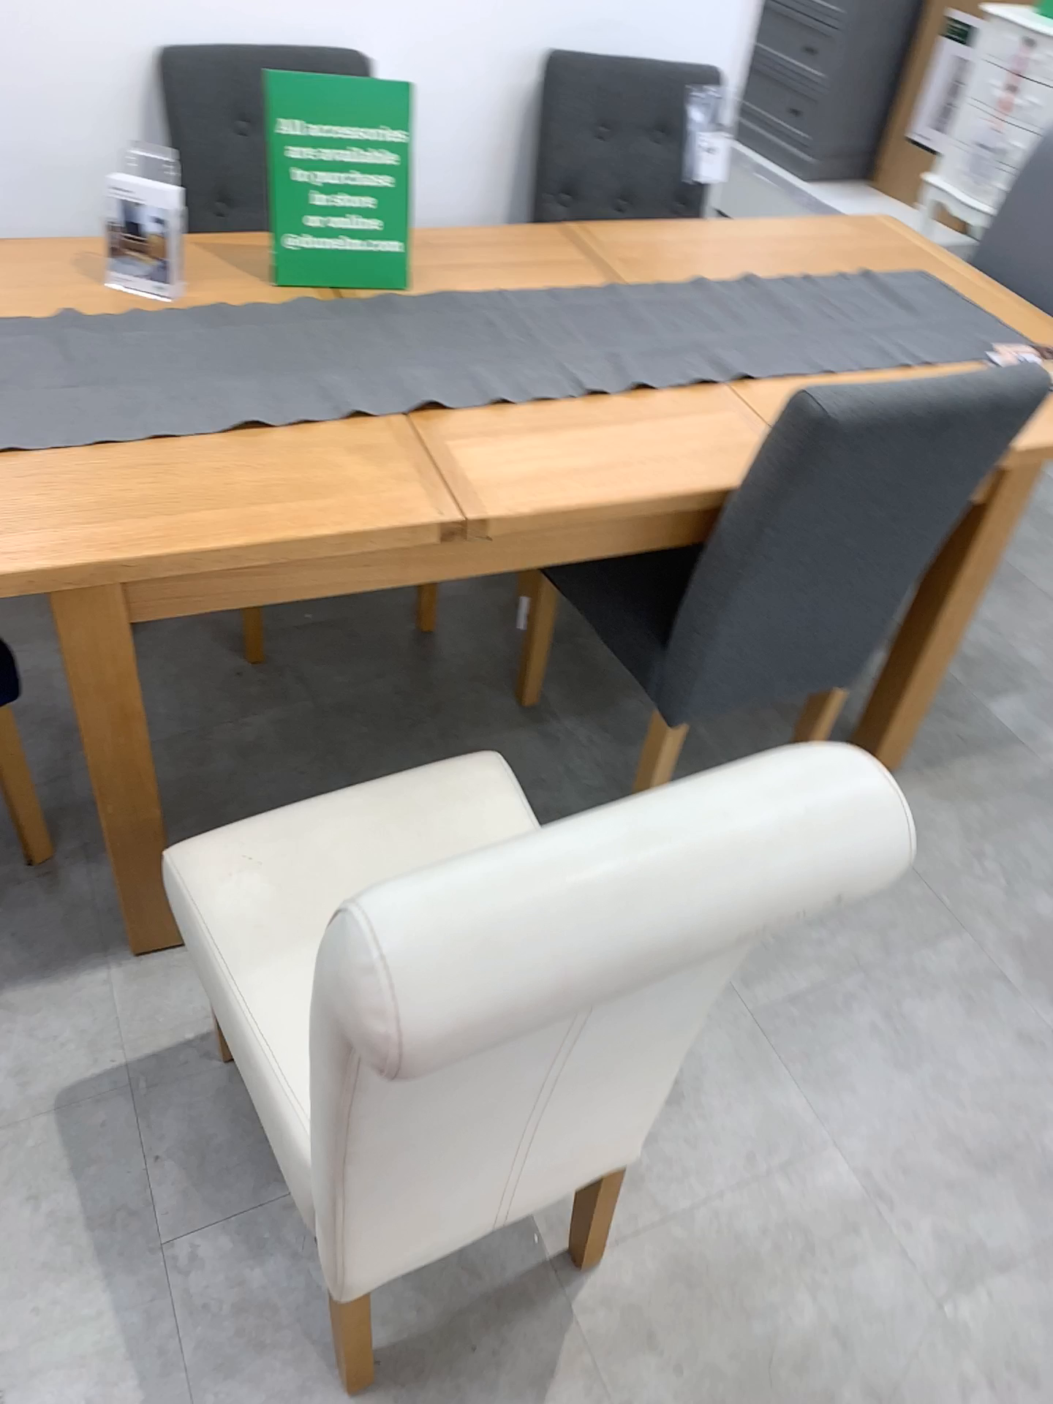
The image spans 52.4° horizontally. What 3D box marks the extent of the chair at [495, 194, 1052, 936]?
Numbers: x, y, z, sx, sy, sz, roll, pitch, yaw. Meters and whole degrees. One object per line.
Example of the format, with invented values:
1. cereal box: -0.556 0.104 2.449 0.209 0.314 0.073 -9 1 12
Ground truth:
1. chair: 0.323 -0.202 1.661 0.484 0.905 0.586 -12 46 -21

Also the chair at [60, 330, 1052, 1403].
1. chair: -0.050 0.234 1.065 0.514 0.935 0.596 -15 47 -23
